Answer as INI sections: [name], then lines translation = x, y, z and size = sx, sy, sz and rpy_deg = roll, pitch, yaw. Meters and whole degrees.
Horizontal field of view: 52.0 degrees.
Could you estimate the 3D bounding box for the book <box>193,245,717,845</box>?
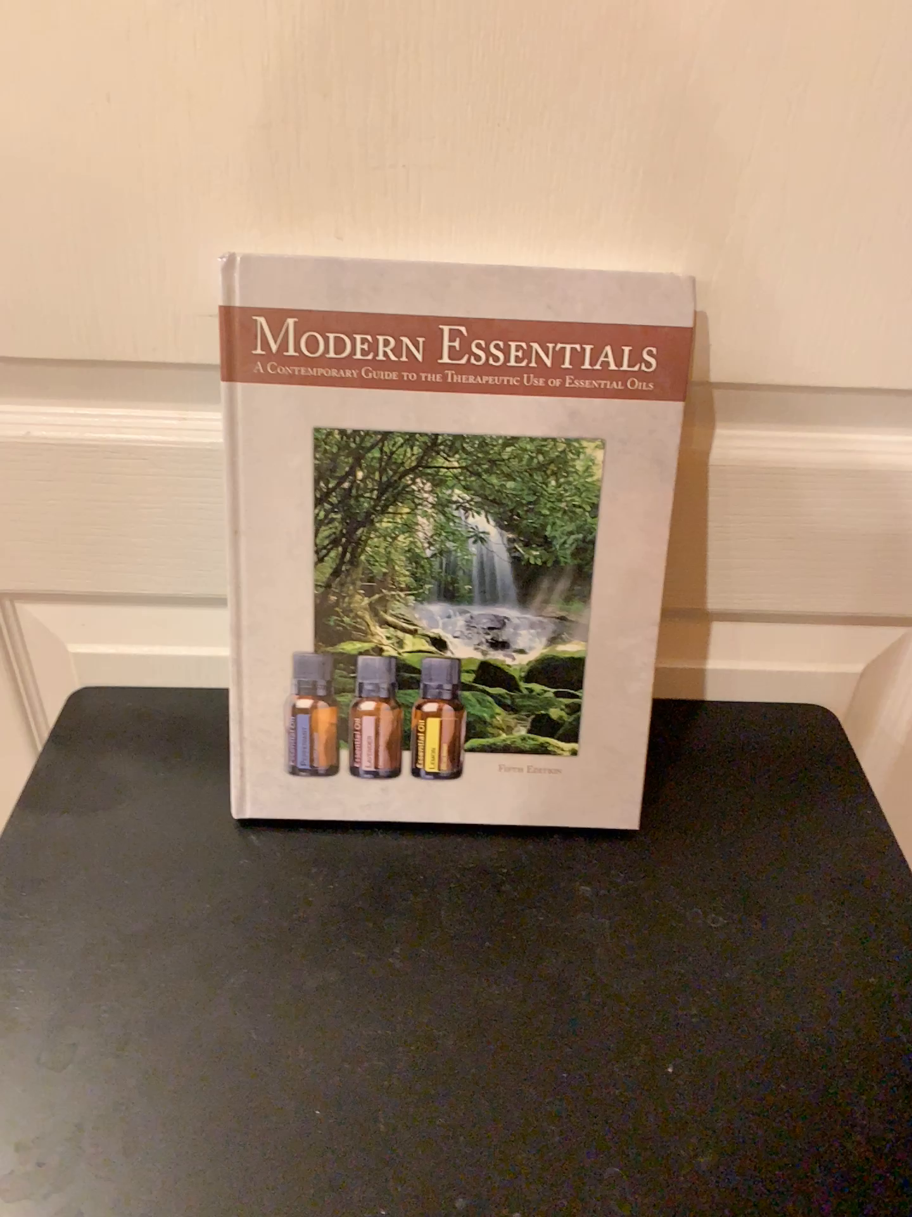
[book]
translation = -0.006, -0.021, 0.467
size = 0.230, 0.289, 0.030
rpy_deg = 2, 17, -1
